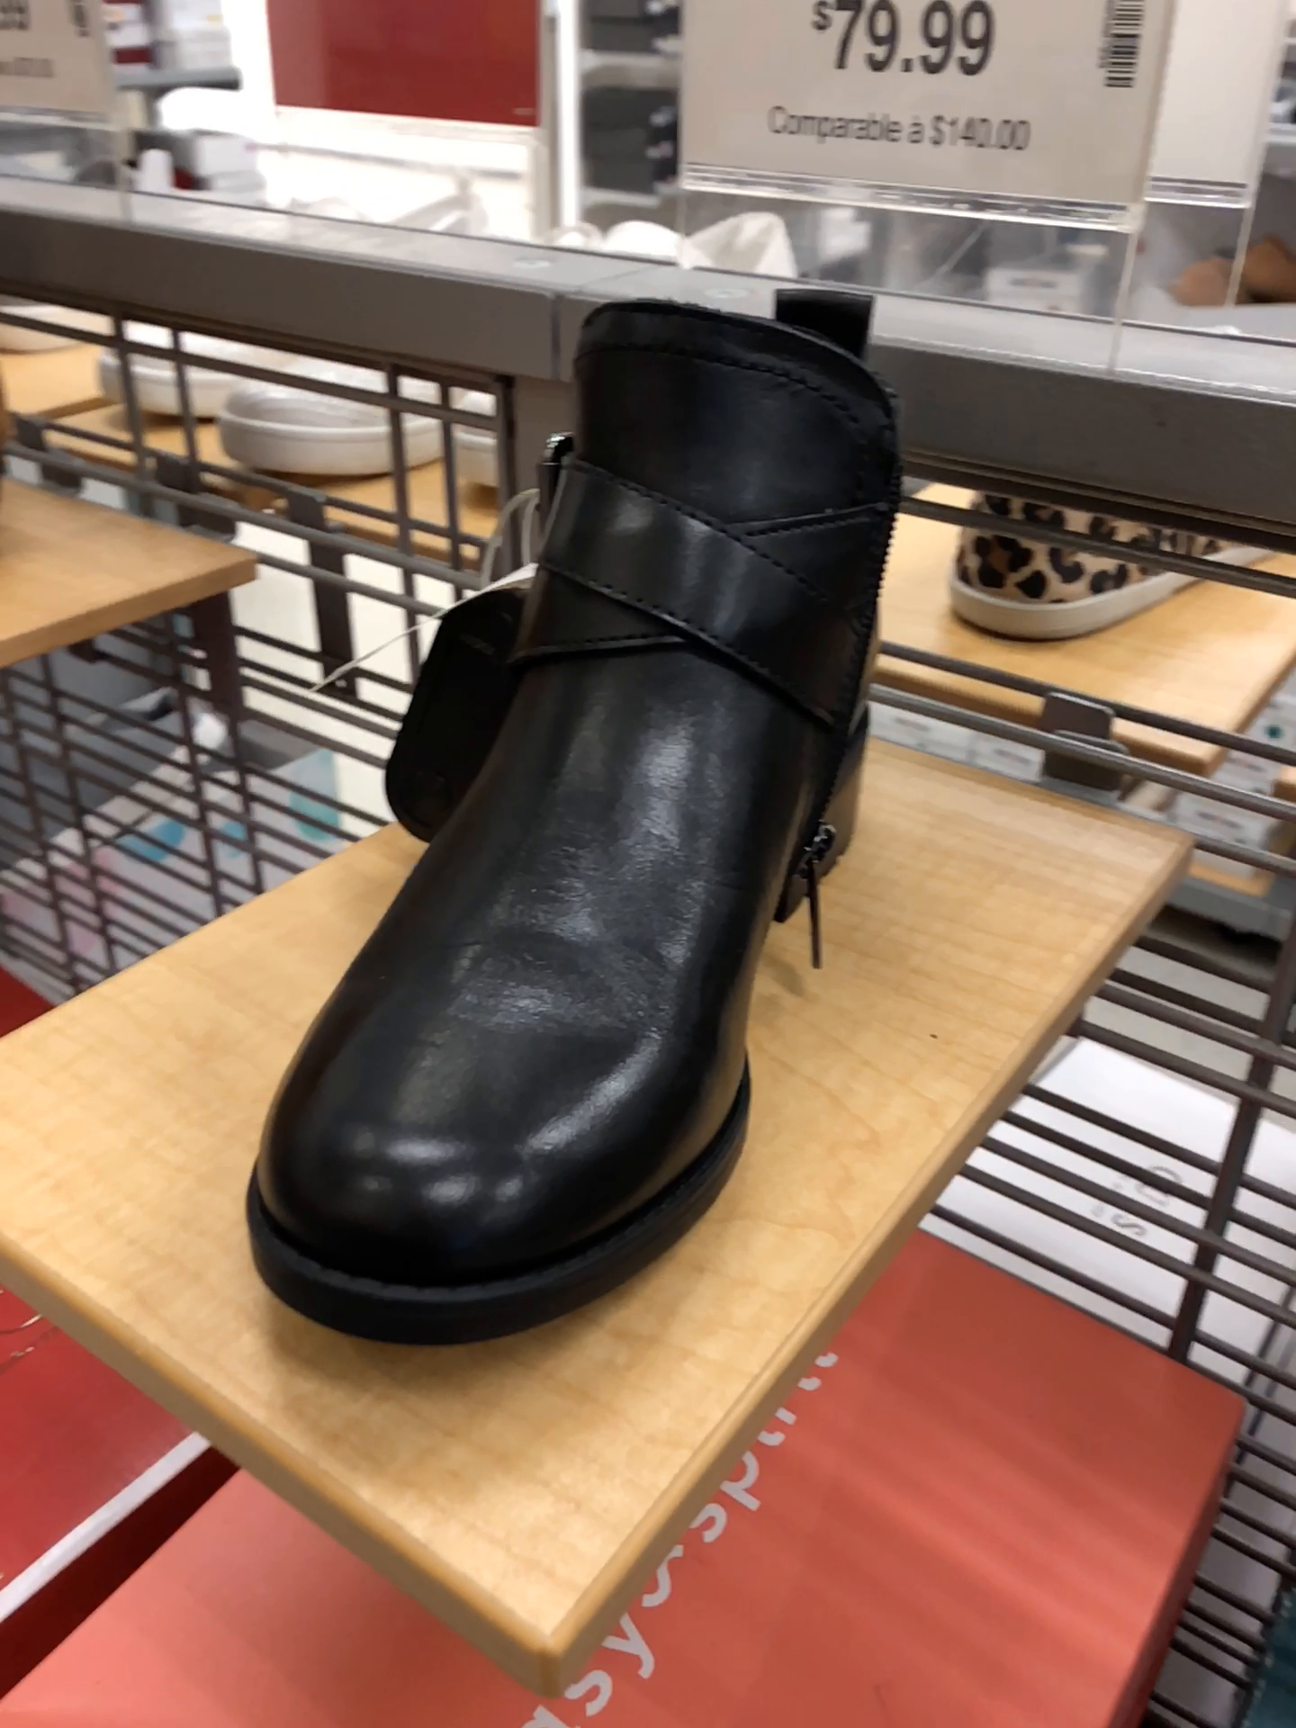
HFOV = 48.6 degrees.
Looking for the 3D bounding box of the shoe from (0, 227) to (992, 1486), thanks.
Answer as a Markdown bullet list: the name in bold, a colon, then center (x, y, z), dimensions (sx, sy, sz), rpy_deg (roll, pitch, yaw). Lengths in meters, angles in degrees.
- **shoe**: center (-0.007, -0.031, 0.273), dimensions (0.090, 0.133, 0.222), rpy_deg (12, 33, 17)
